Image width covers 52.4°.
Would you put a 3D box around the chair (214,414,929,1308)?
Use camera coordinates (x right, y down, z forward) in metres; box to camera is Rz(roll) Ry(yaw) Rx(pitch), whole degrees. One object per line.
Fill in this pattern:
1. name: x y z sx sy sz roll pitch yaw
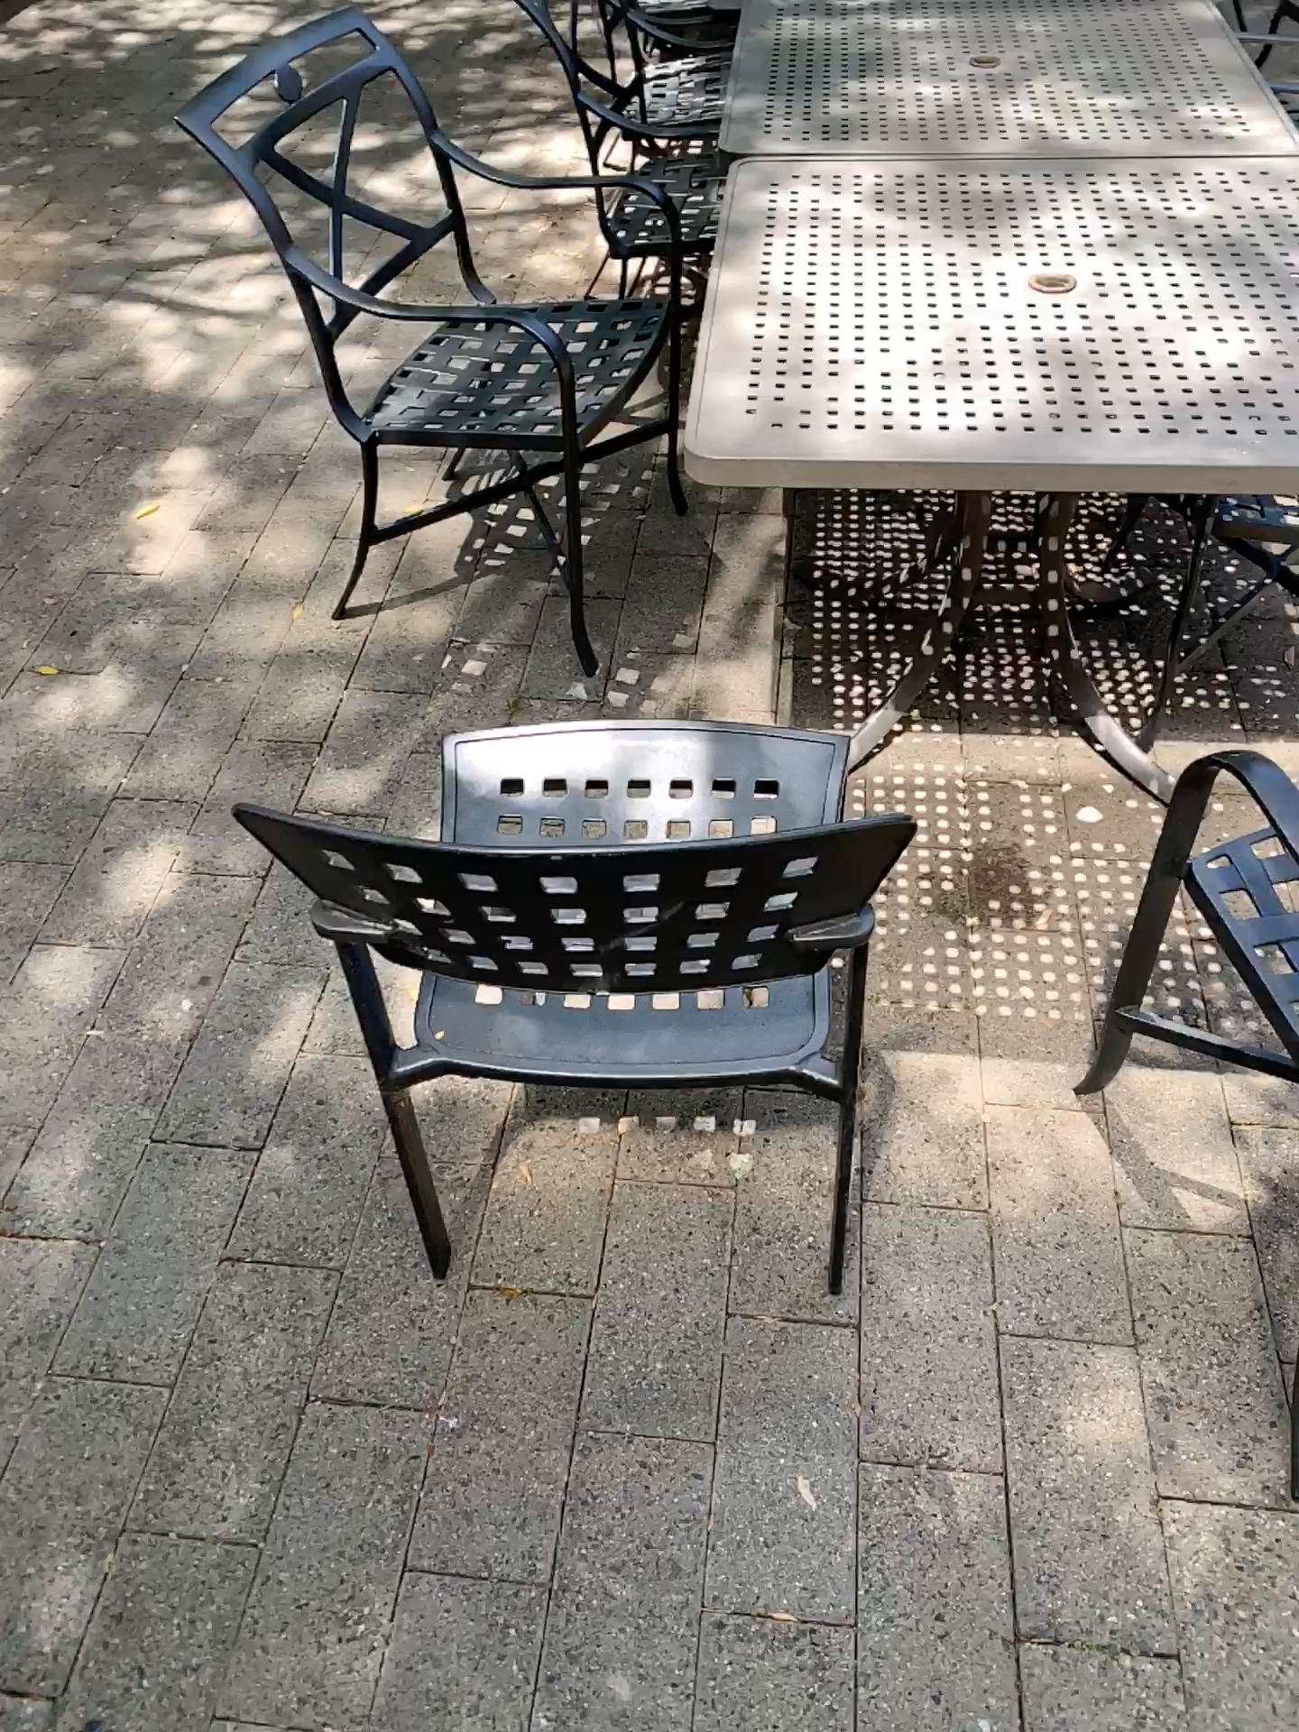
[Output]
1. chair: -0.017 0.013 1.342 0.490 0.716 0.553 2 47 6
